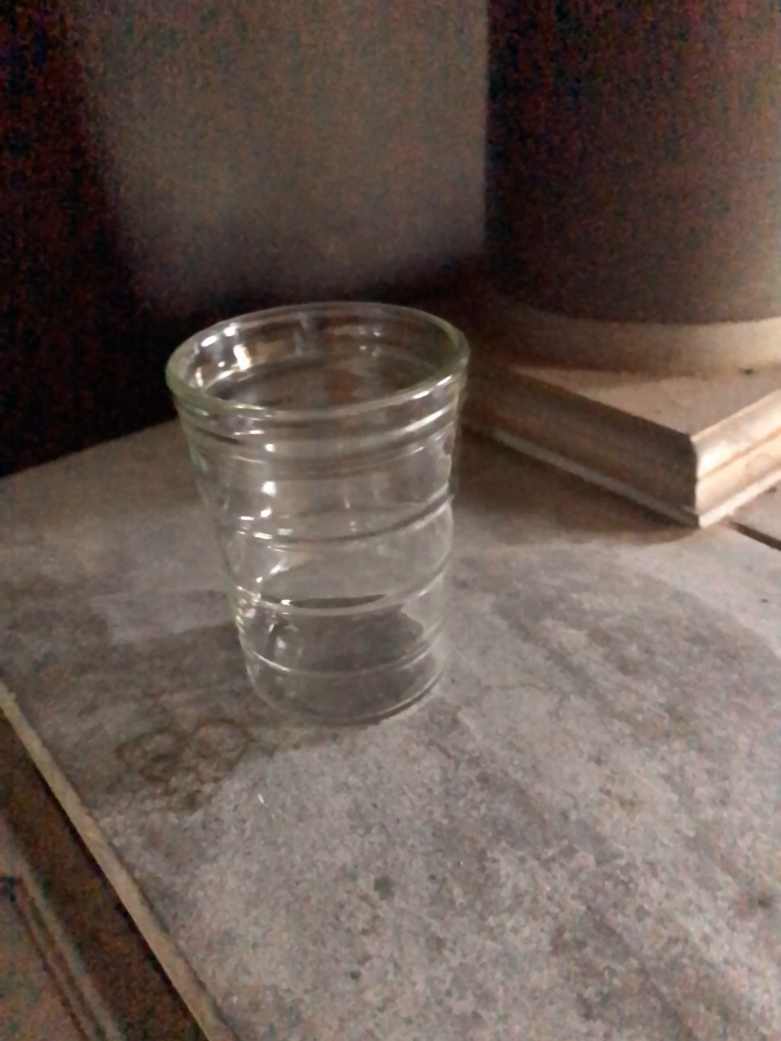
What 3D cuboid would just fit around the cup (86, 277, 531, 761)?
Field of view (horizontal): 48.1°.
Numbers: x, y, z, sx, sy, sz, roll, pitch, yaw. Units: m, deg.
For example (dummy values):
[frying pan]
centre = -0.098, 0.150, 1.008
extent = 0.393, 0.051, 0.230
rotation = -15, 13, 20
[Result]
[cup]
centre = -0.012, -0.006, 0.210
extent = 0.070, 0.080, 0.070
rotation = -3, 32, 2
